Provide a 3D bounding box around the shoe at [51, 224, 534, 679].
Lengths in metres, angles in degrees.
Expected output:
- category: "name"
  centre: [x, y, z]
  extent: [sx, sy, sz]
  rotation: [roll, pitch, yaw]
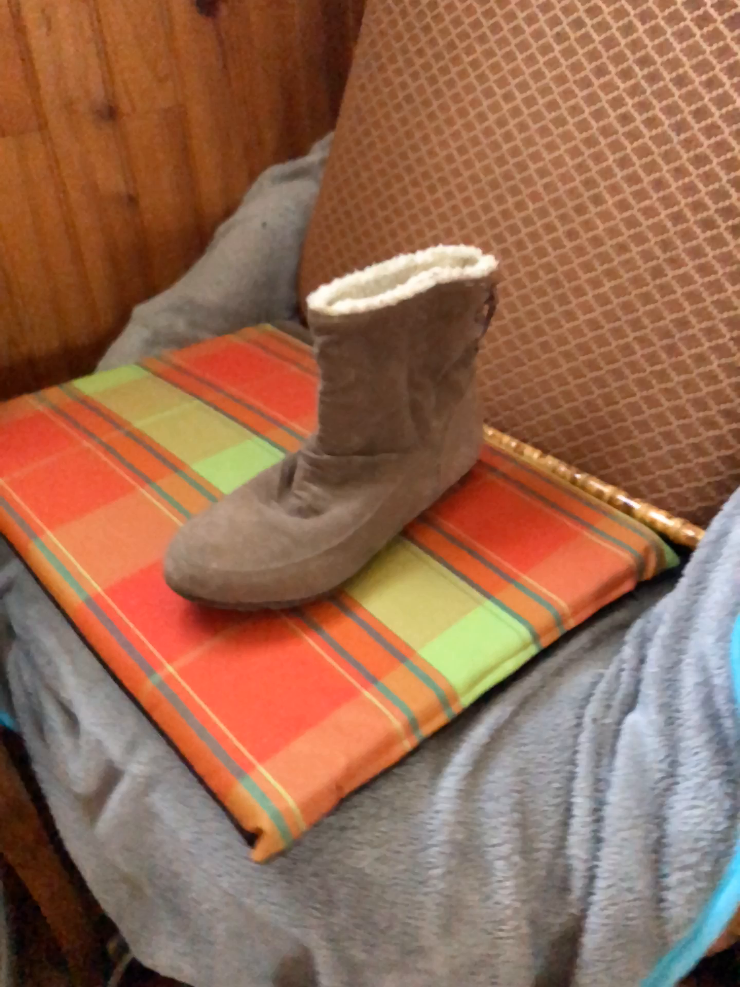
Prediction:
- category: "shoe"
  centre: [-0.027, -0.041, 0.496]
  extent: [0.261, 0.159, 0.100]
  rotation: [-30, 43, -33]
